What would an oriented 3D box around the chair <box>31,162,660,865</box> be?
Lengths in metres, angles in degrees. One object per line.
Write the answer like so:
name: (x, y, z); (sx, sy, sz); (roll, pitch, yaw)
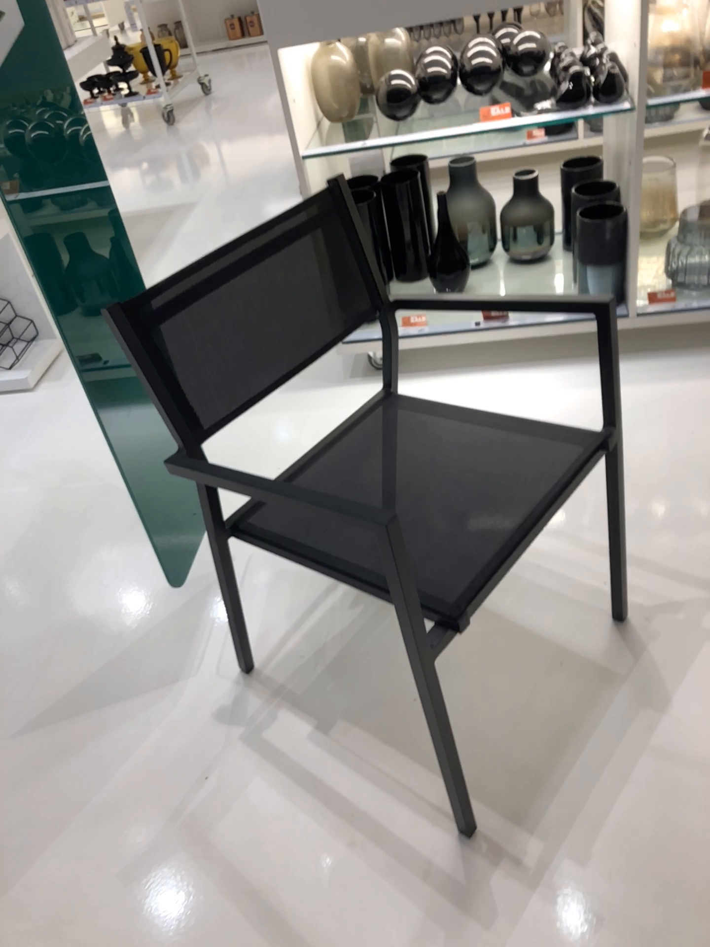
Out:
chair: (0.047, 0.024, 1.251); (0.602, 0.794, 0.573); (21, 49, 36)
